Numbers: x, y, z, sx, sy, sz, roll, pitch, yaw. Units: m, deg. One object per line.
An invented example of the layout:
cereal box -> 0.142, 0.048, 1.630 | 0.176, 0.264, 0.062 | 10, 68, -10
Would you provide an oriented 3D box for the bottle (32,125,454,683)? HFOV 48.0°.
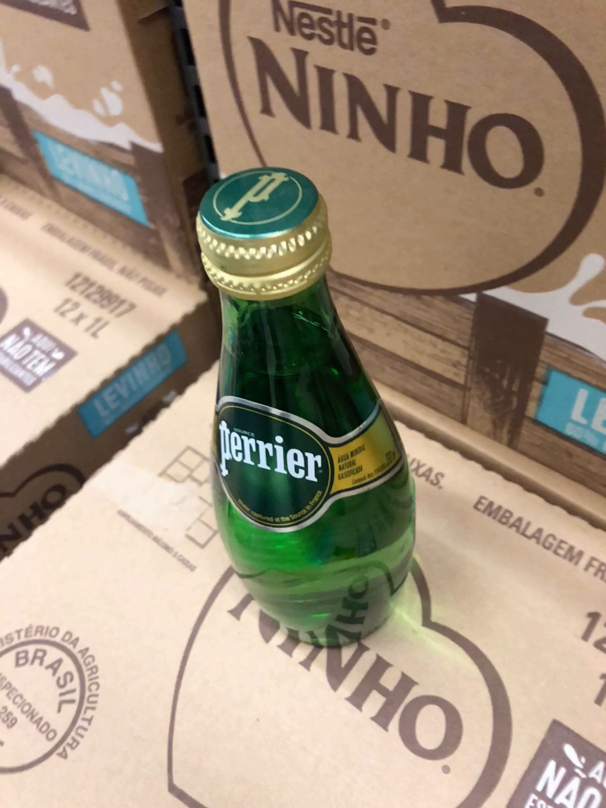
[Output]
bottle -> -0.001, 0.017, 0.209 | 0.070, 0.179, 0.060 | 11, 54, 16
